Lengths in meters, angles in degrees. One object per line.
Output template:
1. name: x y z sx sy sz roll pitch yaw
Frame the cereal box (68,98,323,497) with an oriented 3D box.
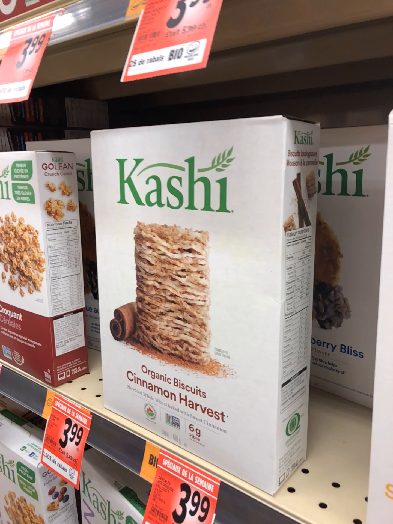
1. cereal box: -0.006 0.016 0.368 0.200 0.269 0.070 9 18 39
